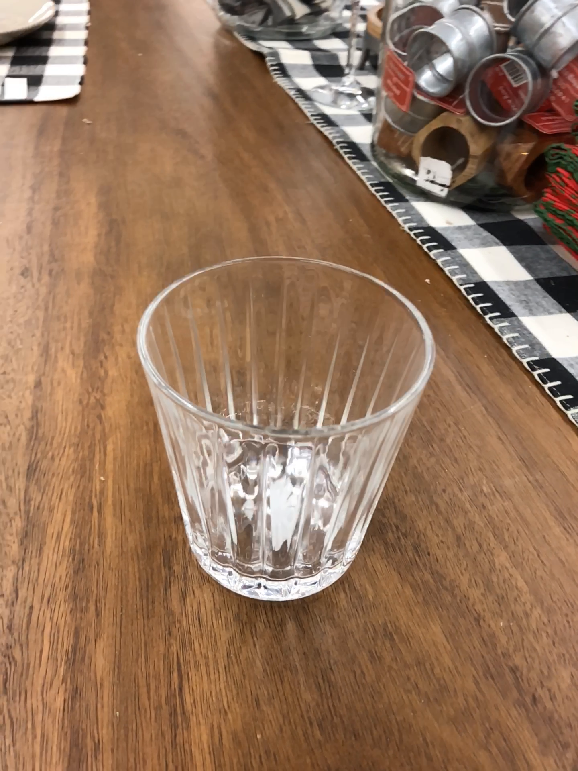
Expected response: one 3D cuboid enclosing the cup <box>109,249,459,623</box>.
[{"bbox_3d":[0.000,0.017,0.235,0.093,0.093,0.090,1,41,-1],"label":"cup"}]
